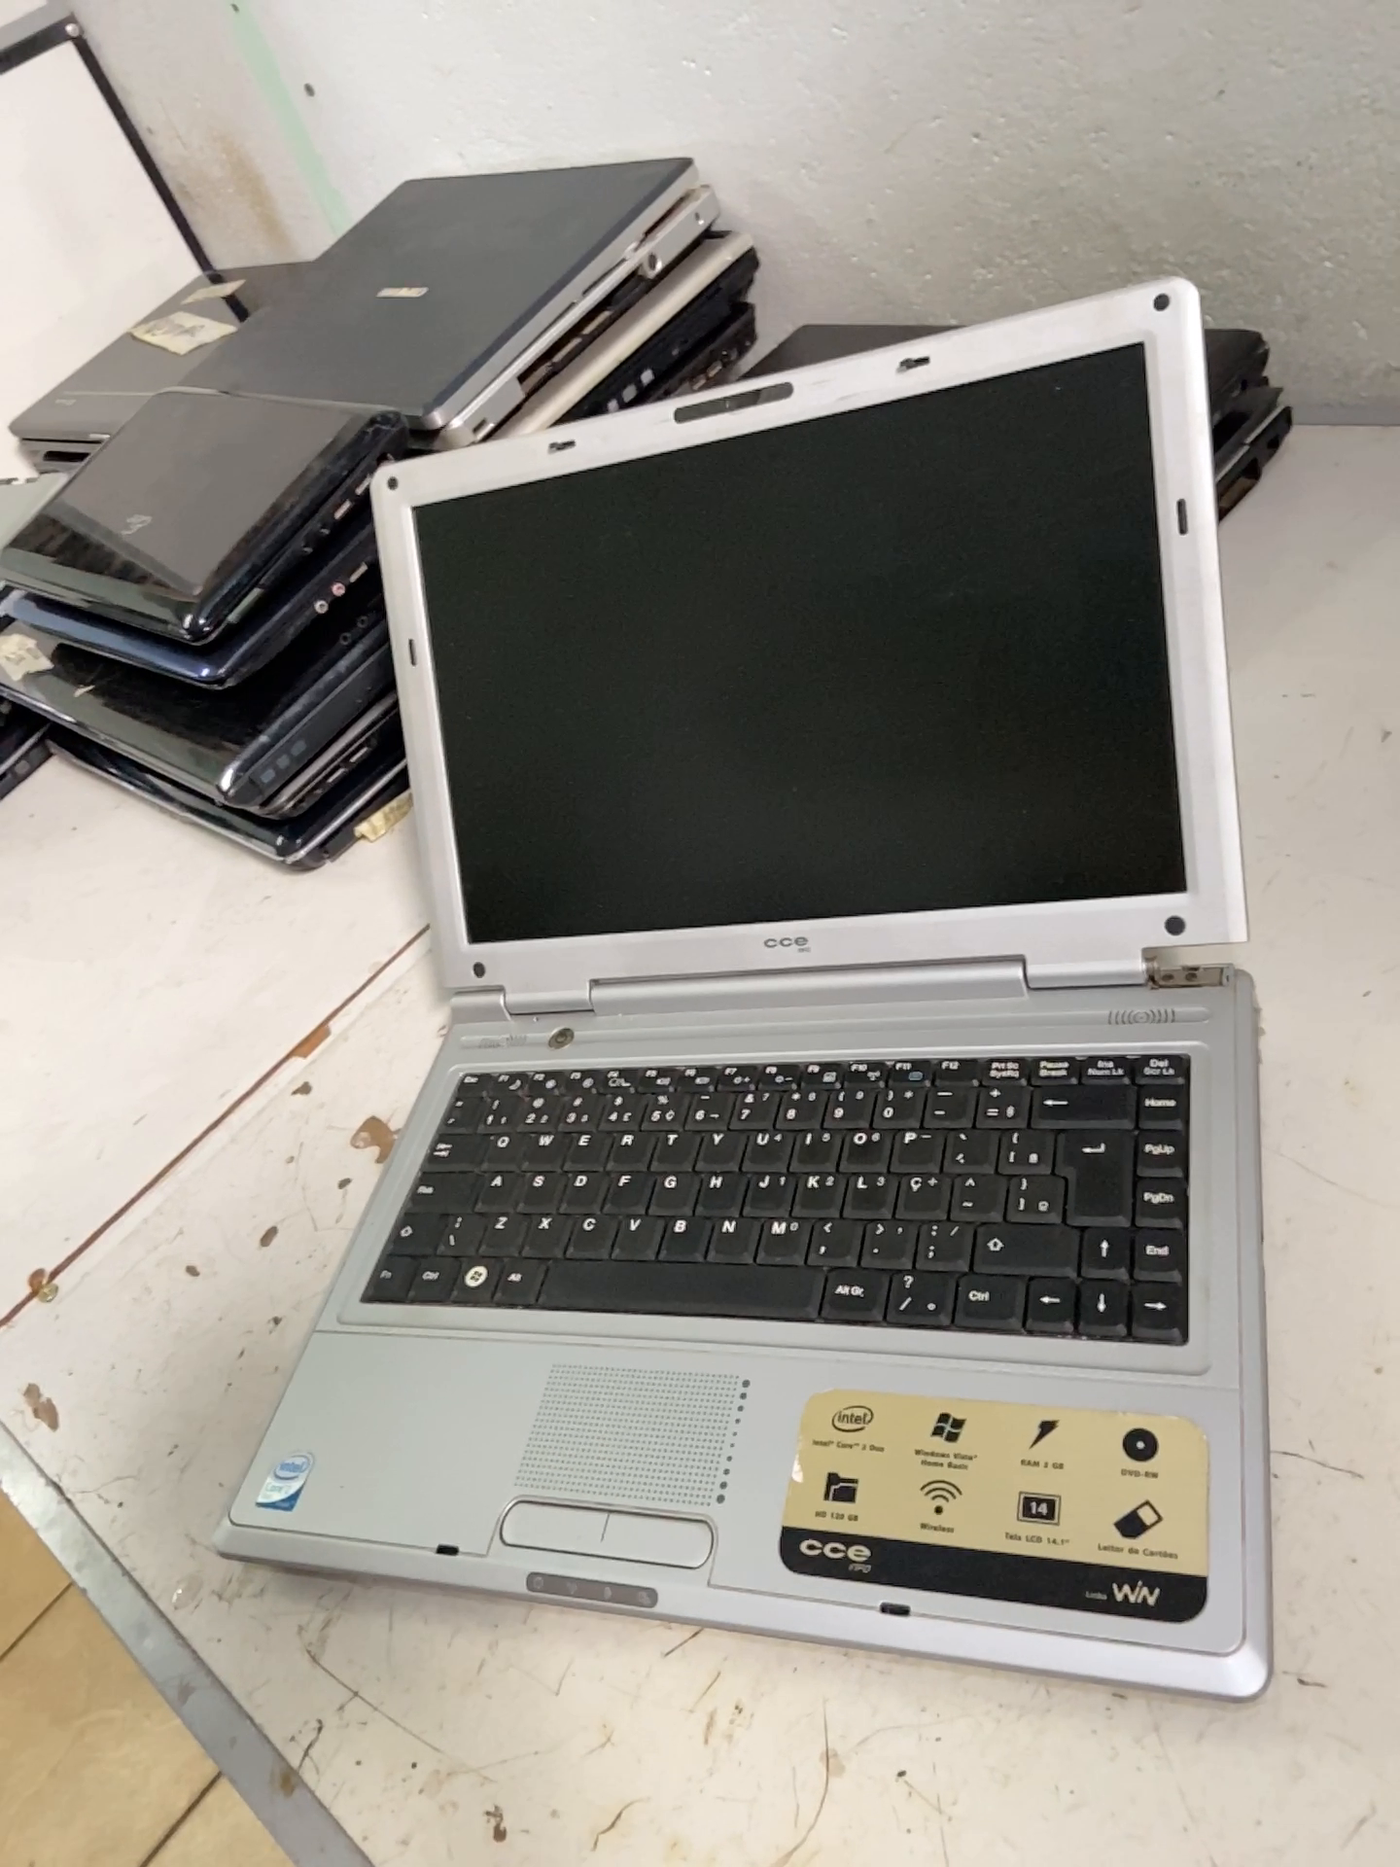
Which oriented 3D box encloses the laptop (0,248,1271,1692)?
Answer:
[{"bbox_3d":[0.000,-0.009,0.489,0.338,0.190,0.388,-5,45,24],"label":"laptop"}]
